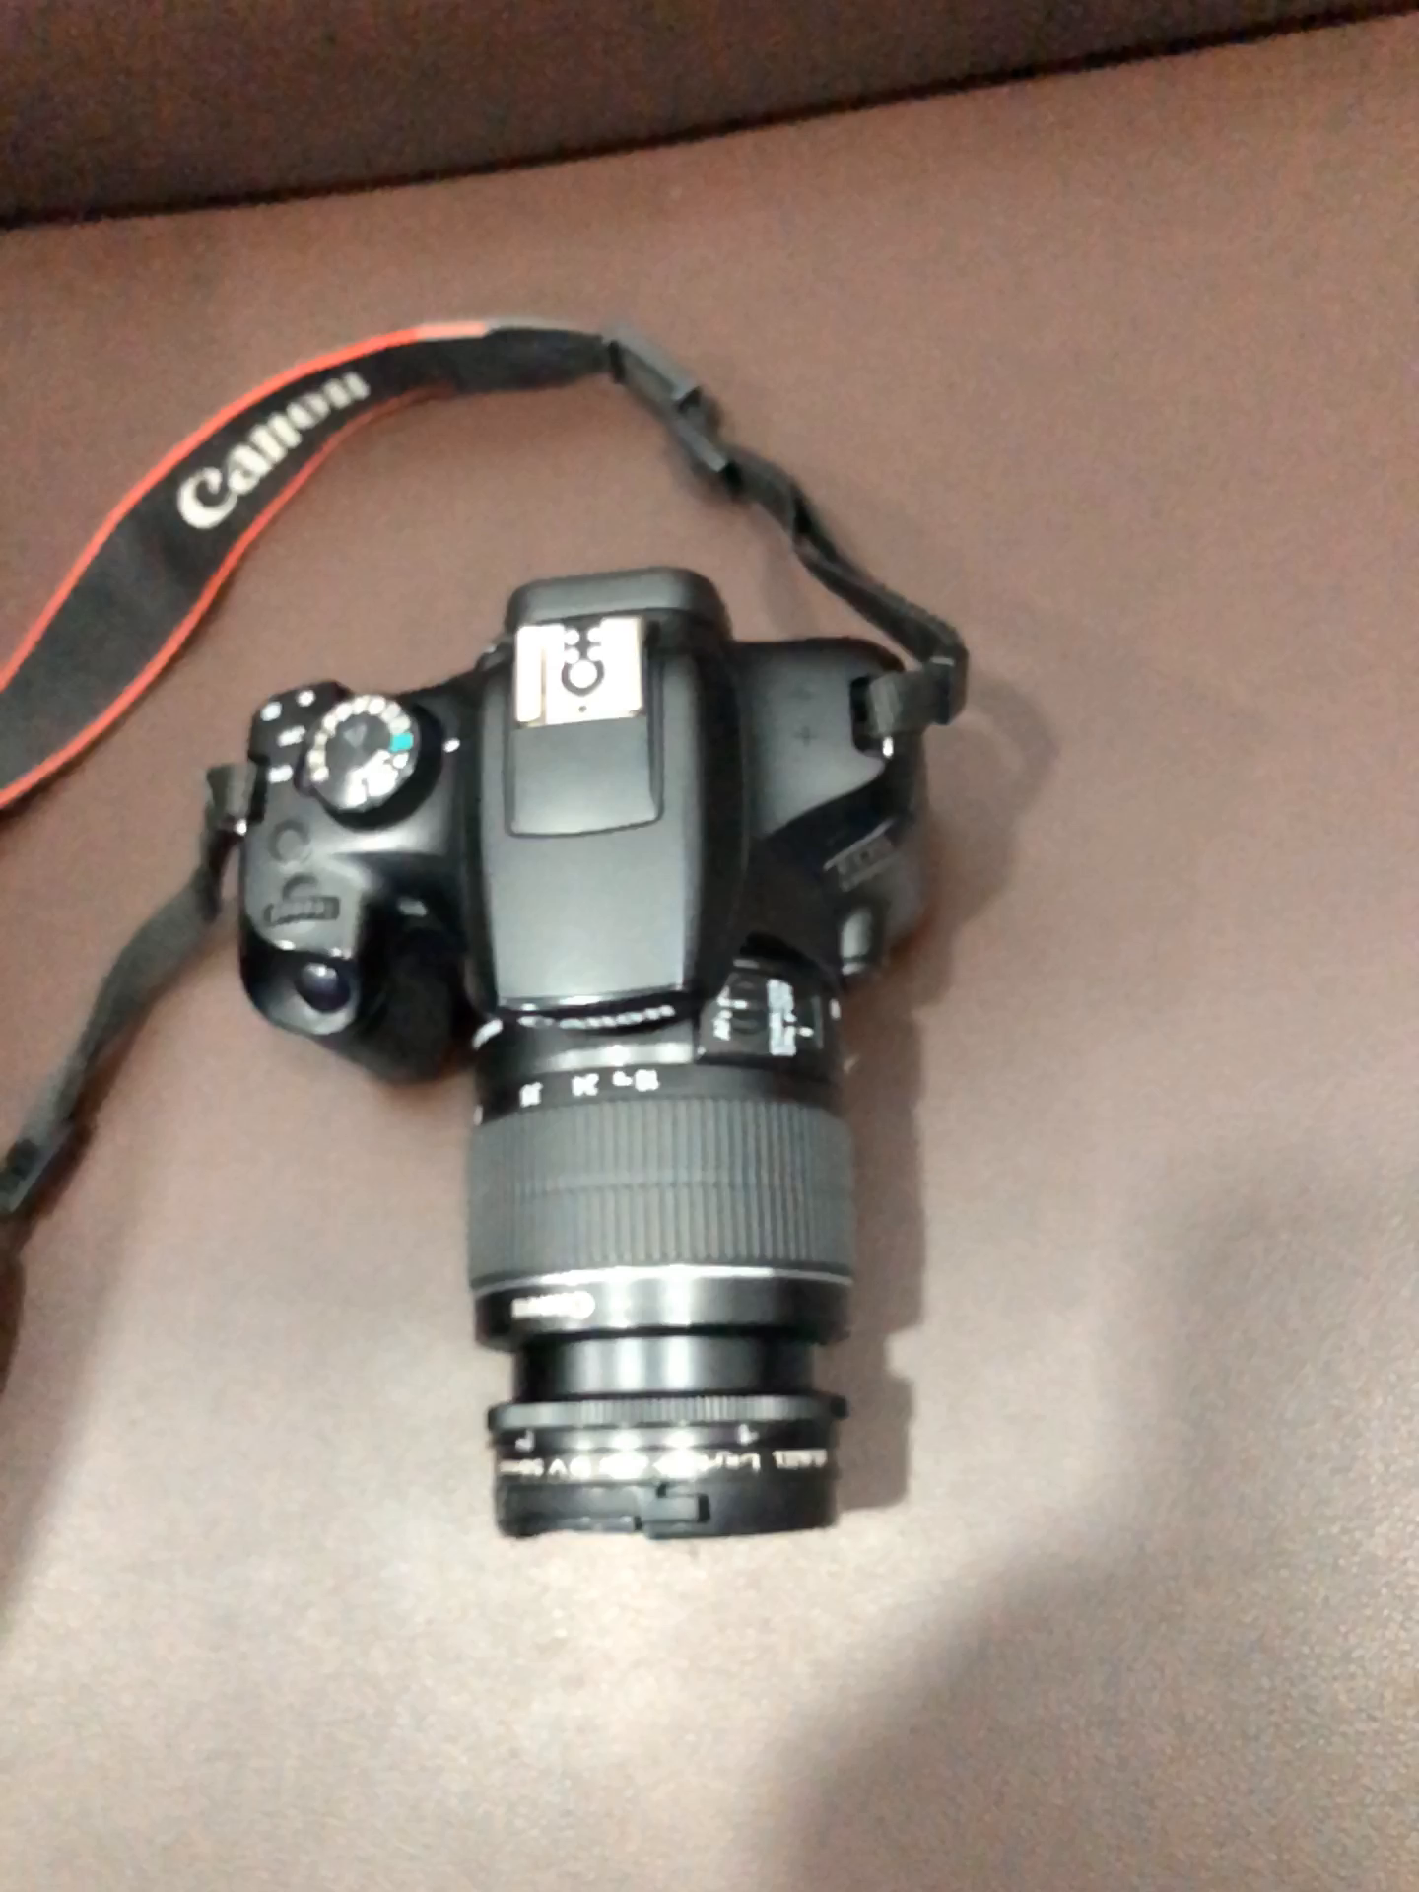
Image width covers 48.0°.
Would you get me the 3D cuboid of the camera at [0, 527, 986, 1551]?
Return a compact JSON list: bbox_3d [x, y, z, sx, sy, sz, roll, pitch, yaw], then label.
[{"bbox_3d":[-0.025,0.023,0.264,0.130,0.090,0.140,-4,70,11],"label":"camera"}]
